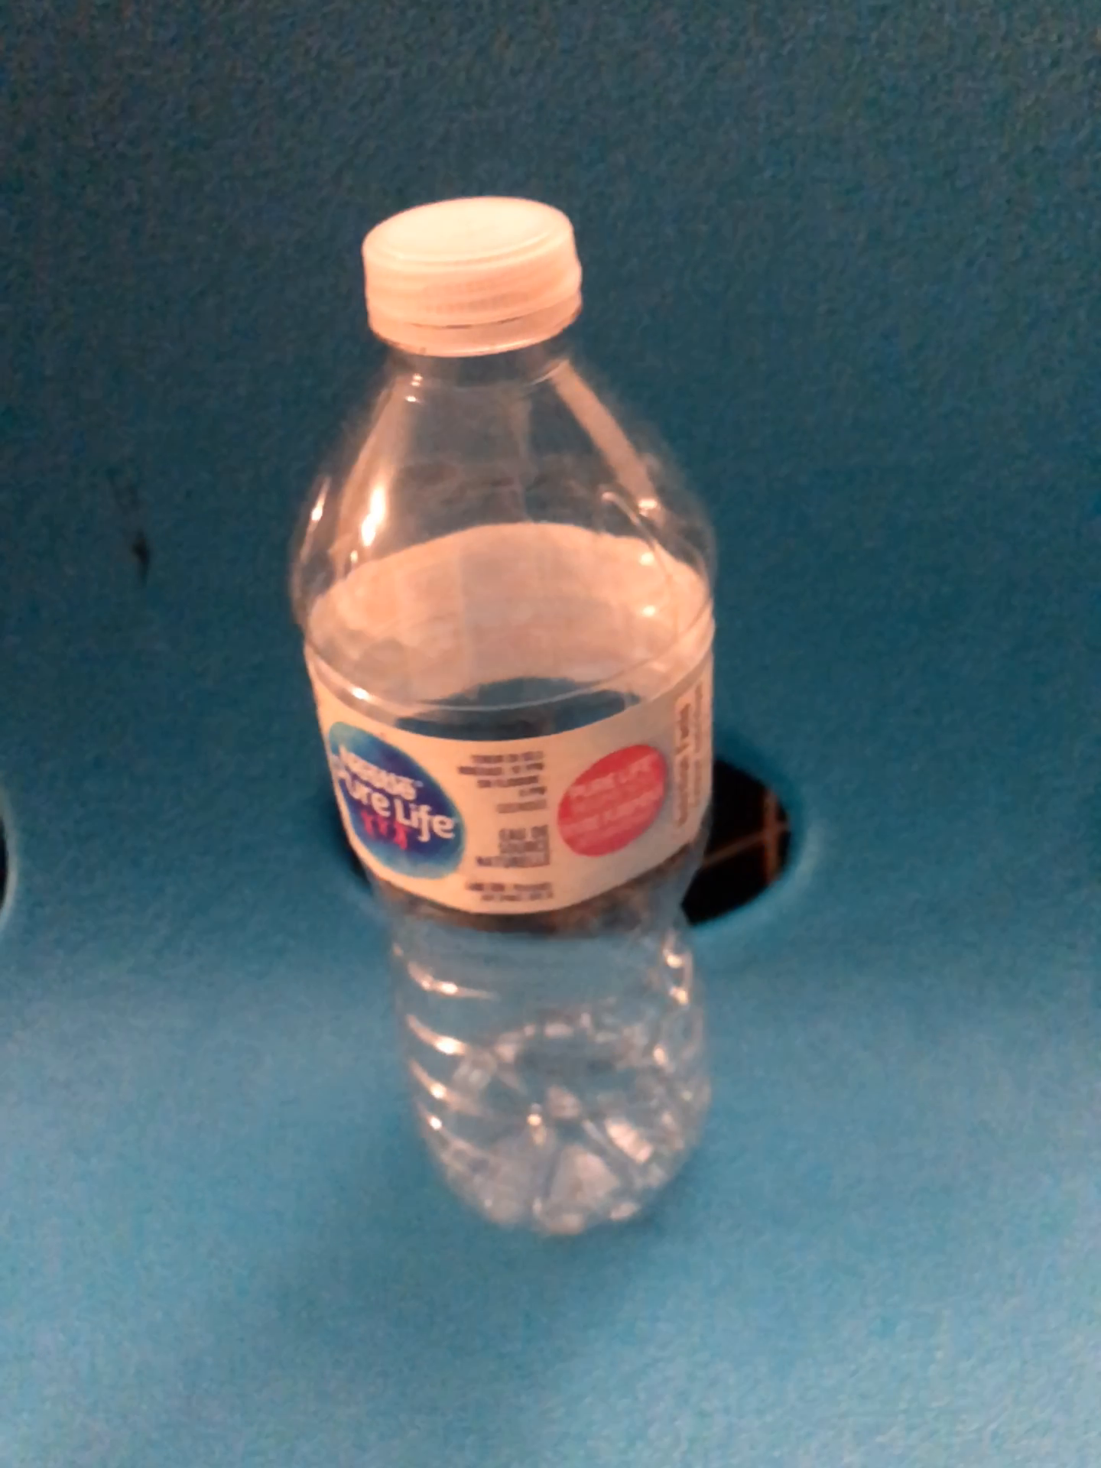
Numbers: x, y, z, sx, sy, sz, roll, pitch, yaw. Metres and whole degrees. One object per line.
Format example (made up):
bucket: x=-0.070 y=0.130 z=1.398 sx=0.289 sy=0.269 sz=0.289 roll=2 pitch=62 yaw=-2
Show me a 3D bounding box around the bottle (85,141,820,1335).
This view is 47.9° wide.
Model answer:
bottle: x=-0.007 y=0.006 z=0.219 sx=0.070 sy=0.189 sz=0.070 roll=-2 pitch=34 yaw=2
